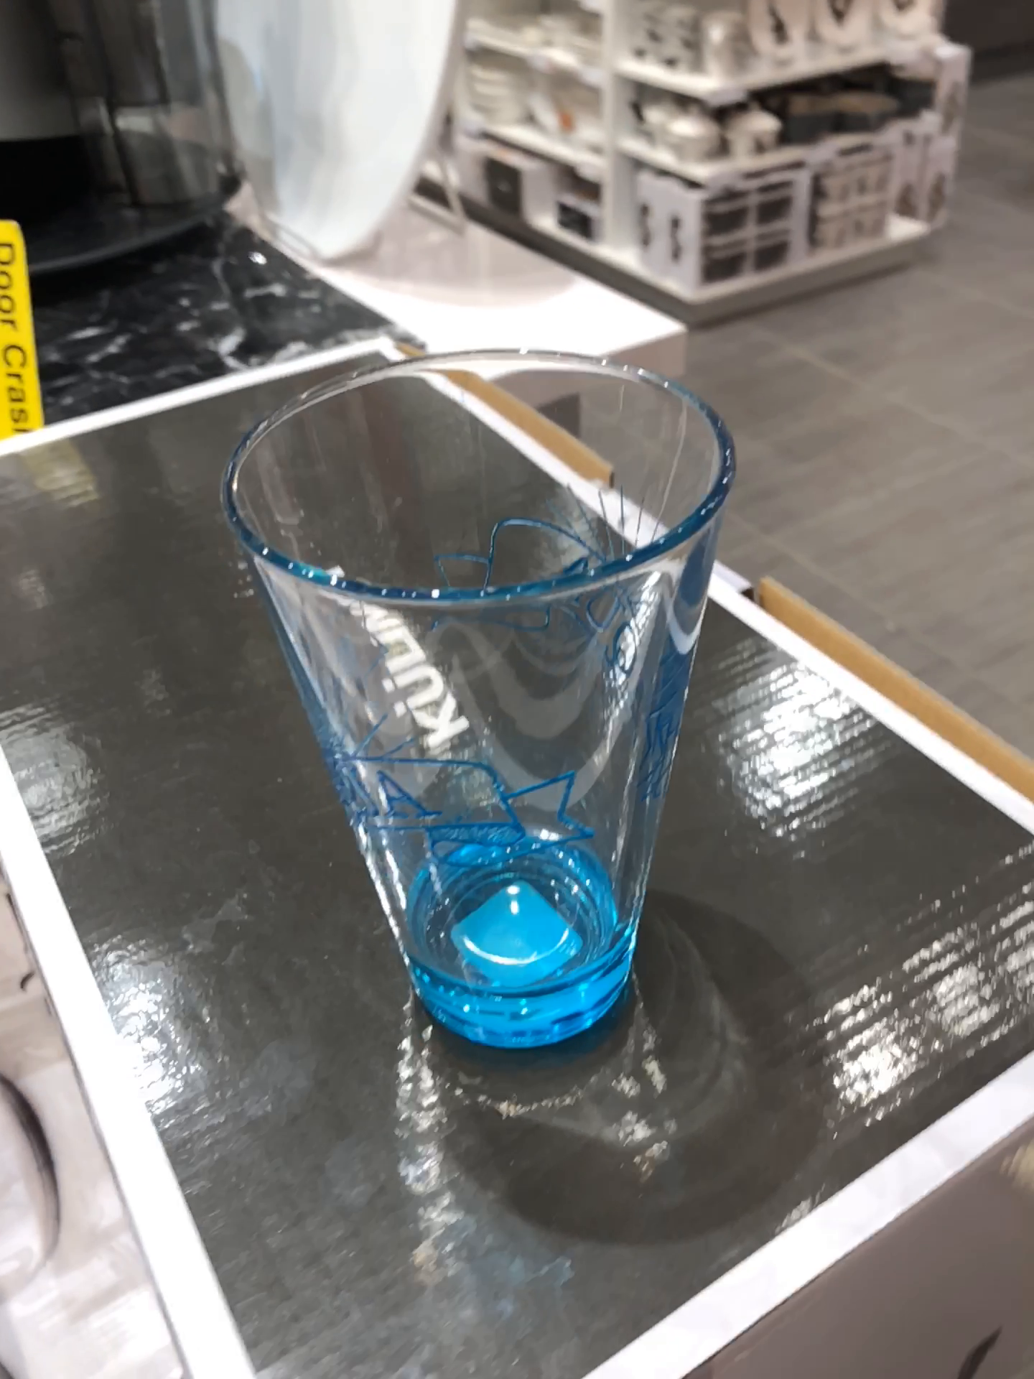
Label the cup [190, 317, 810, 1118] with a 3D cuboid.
[{"bbox_3d":[-0.006,0.005,0.213,0.080,0.110,0.080,-2,39,2],"label":"cup"}]
